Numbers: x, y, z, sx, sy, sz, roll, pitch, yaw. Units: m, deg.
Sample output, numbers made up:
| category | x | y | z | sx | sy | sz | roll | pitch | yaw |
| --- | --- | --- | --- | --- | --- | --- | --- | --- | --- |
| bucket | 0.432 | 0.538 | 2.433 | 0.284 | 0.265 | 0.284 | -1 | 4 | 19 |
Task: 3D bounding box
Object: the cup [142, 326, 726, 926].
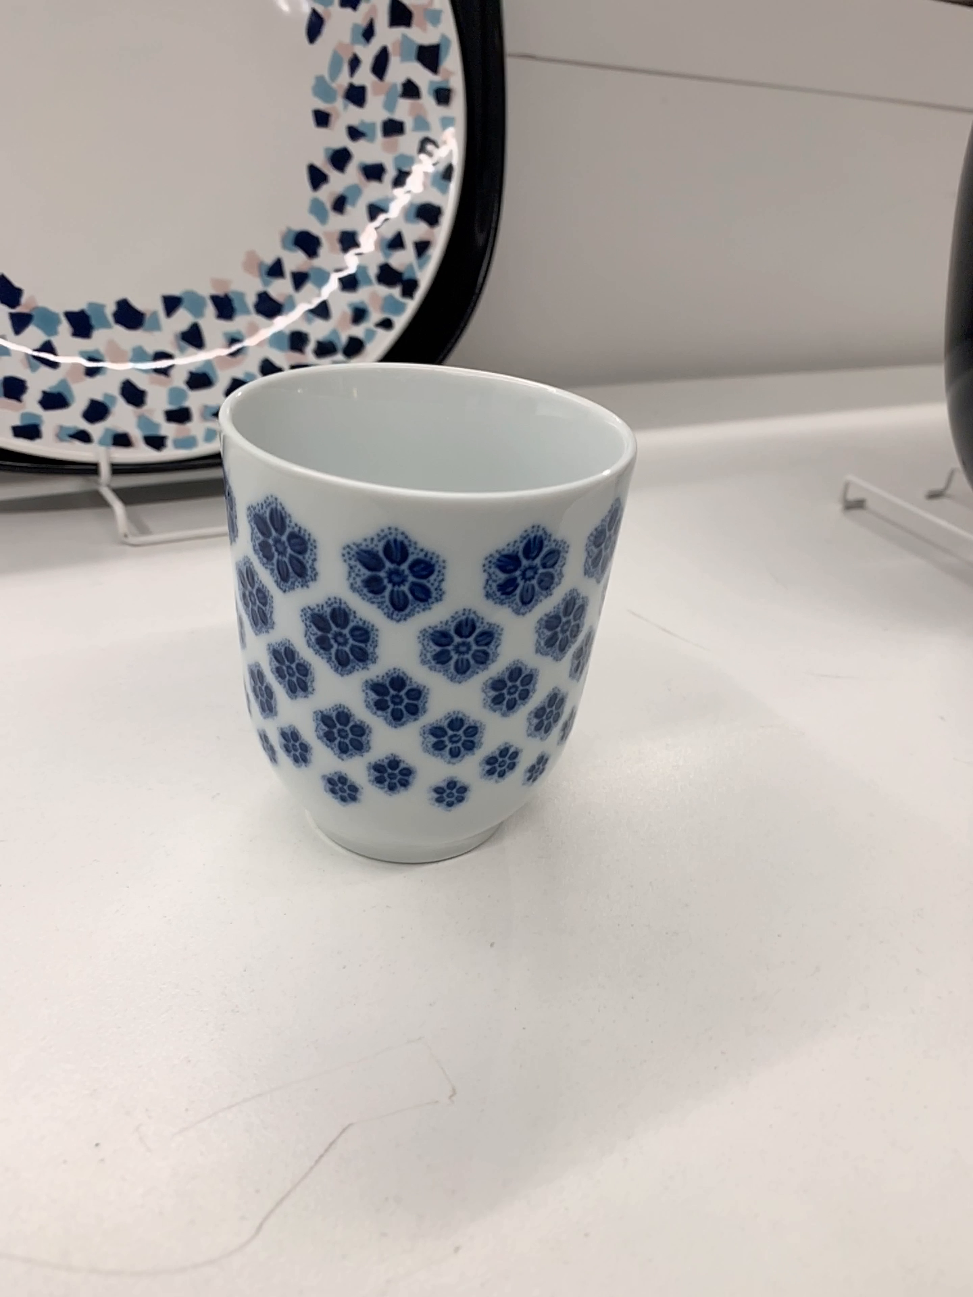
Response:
| category | x | y | z | sx | sy | sz | roll | pitch | yaw |
| --- | --- | --- | --- | --- | --- | --- | --- | --- | --- |
| cup | -0.010 | -0.012 | 0.202 | 0.080 | 0.080 | 0.070 | 20 | 31 | 26 |
